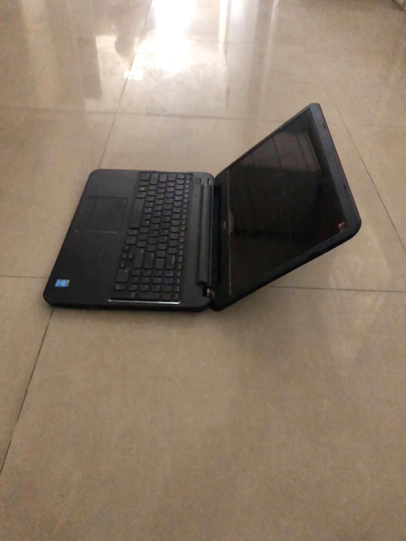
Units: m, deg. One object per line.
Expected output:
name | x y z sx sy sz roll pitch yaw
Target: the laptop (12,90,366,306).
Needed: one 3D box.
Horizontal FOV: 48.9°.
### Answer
laptop | -0.014 -0.136 0.723 0.427 0.163 0.360 2 44 1
